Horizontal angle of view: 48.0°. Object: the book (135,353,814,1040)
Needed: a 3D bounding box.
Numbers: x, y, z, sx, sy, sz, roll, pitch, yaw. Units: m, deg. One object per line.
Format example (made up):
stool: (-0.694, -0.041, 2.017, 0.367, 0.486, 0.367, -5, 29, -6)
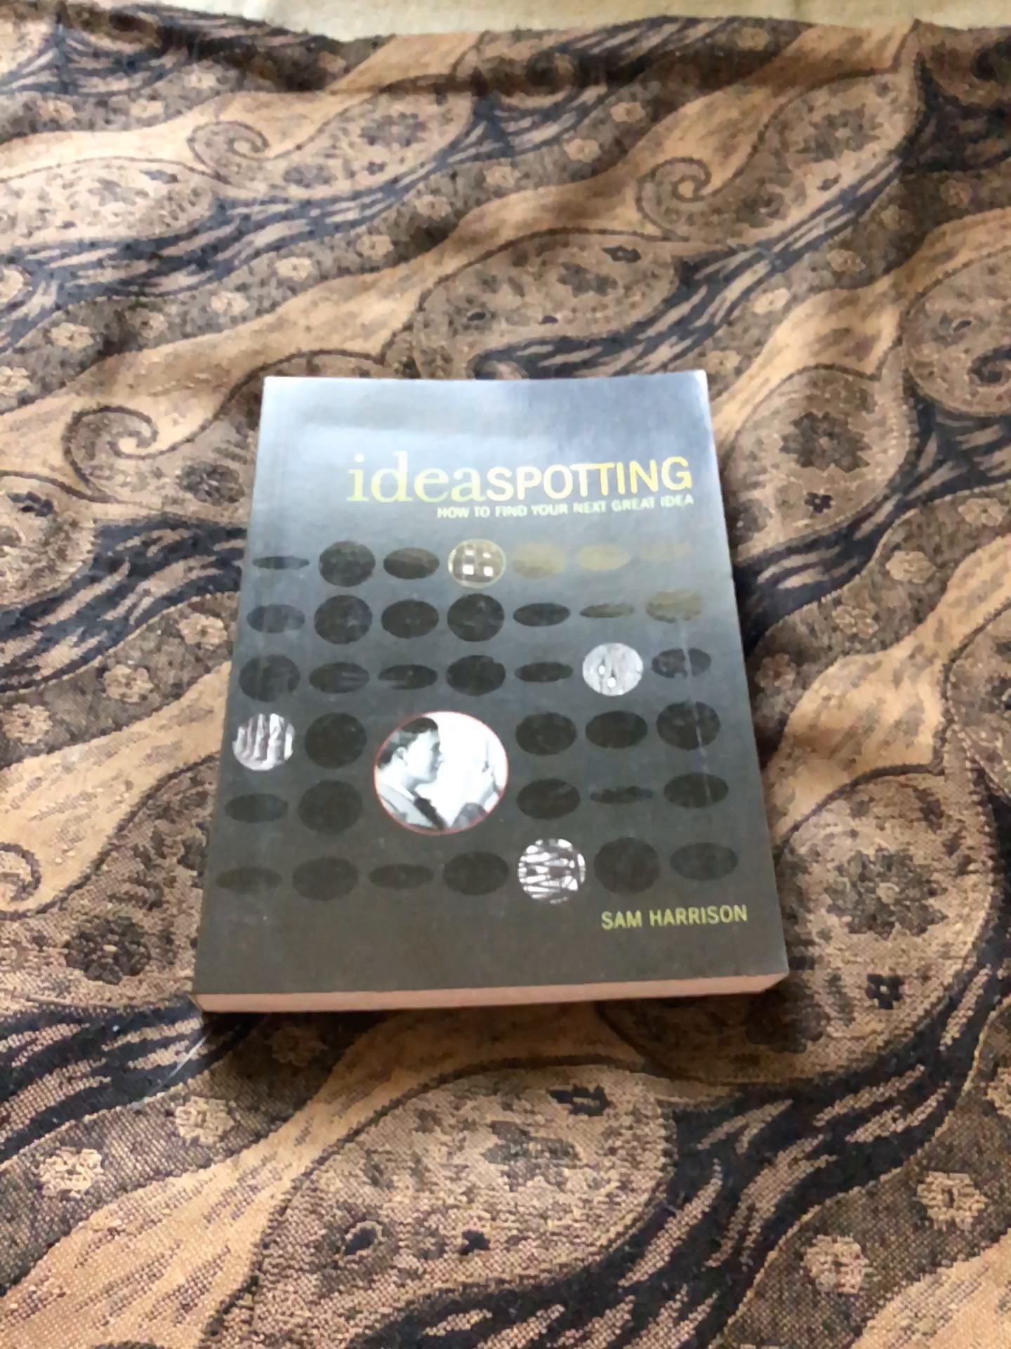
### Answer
book: (-0.008, -0.003, 0.297, 0.140, 0.040, 0.180, -1, 60, 0)
